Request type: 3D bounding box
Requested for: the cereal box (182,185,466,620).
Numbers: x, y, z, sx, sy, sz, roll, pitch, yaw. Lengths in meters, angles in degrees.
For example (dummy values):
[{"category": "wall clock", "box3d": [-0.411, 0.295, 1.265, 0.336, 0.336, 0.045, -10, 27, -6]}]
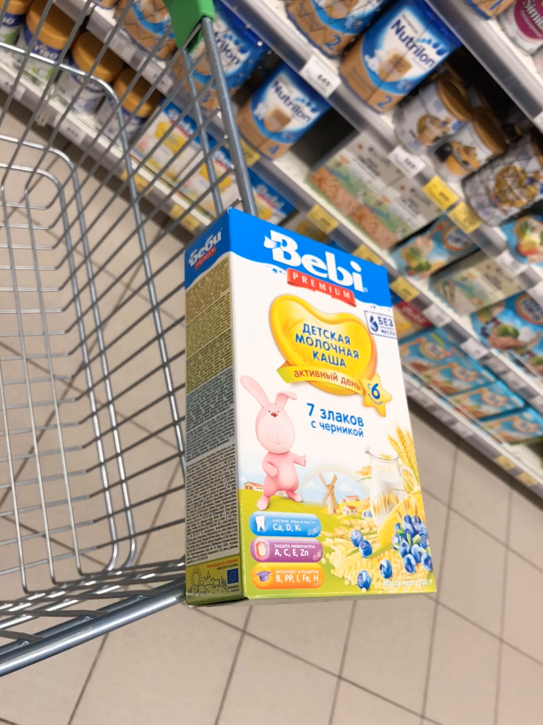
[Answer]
[{"category": "cereal box", "box3d": [0.025, 0.024, 0.336, 0.140, 0.050, 0.210, 13, 61, -34]}]
